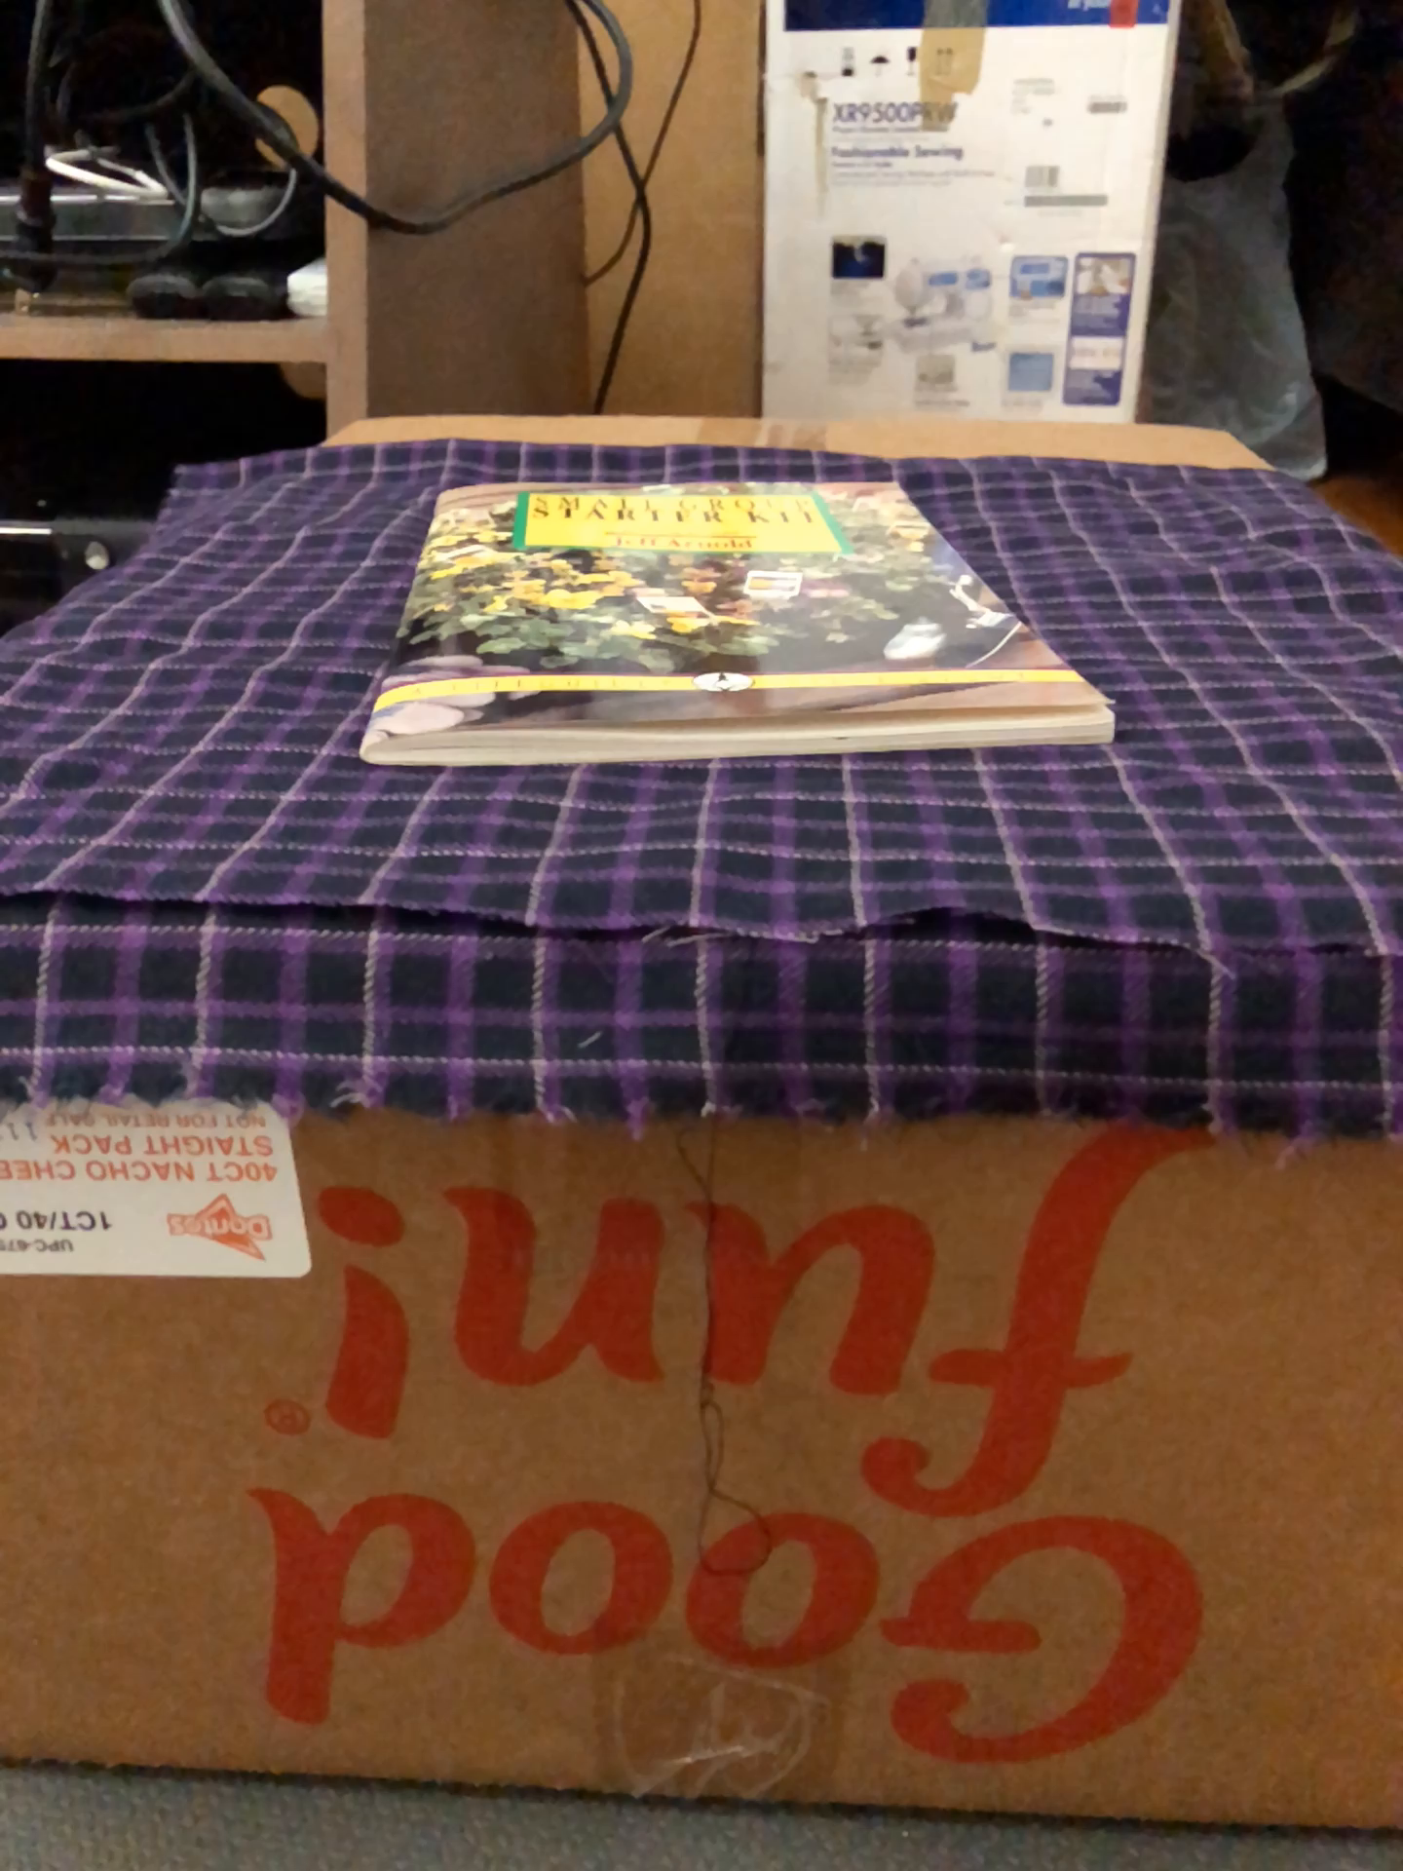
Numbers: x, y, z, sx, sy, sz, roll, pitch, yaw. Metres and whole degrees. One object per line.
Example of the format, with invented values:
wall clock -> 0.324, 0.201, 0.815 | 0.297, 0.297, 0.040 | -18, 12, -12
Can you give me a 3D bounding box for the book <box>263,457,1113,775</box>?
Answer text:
book -> -0.010, -0.087, 0.373 | 0.150, 0.010, 0.221 | -3, 28, -4
